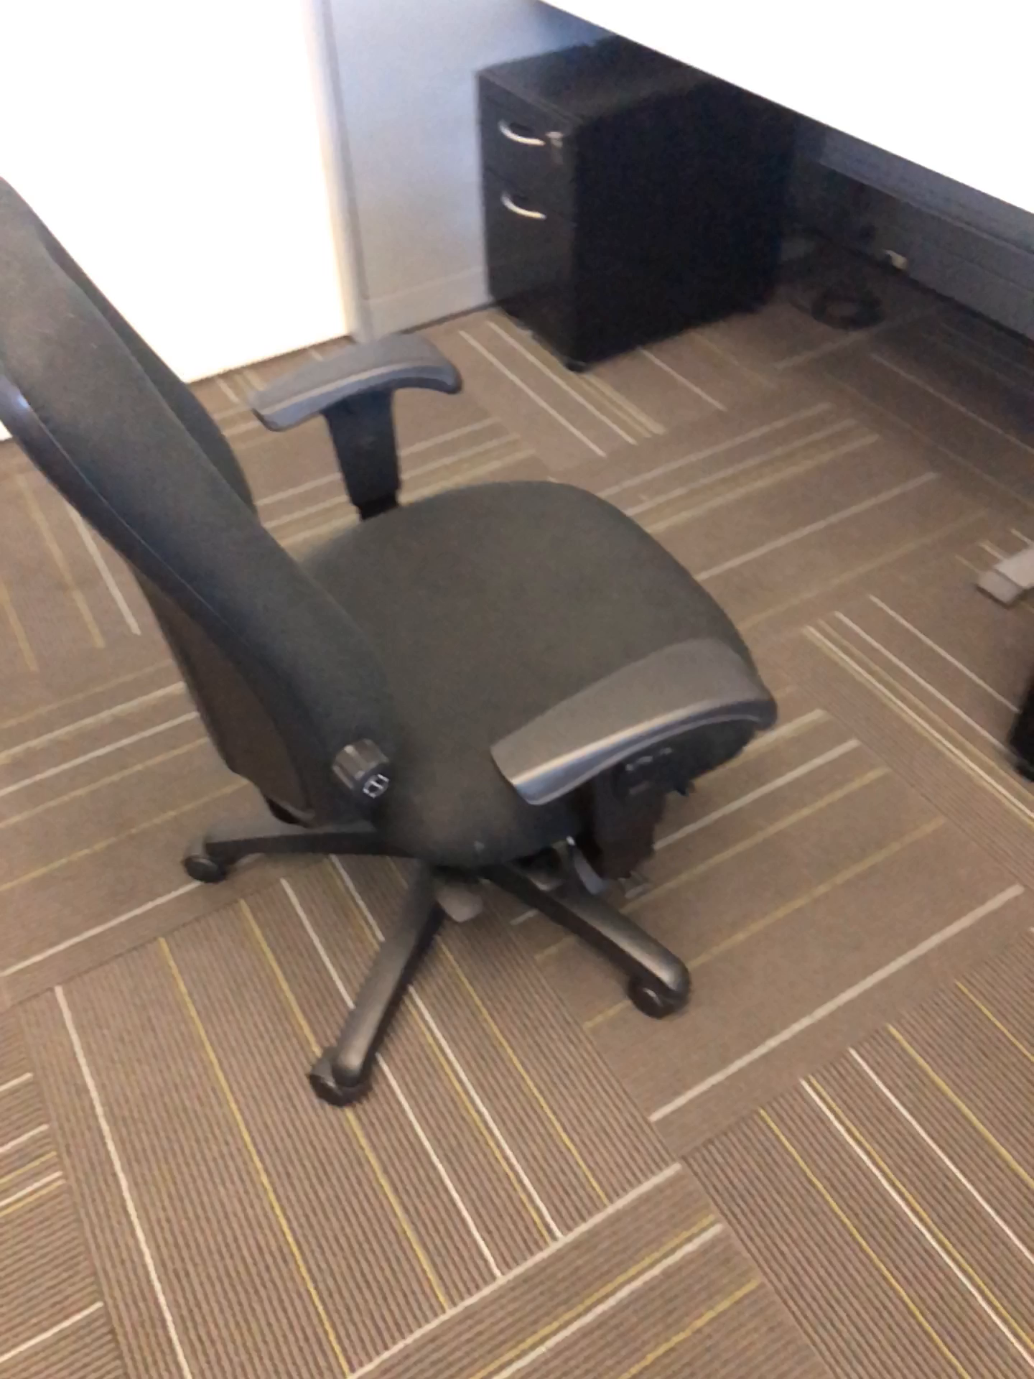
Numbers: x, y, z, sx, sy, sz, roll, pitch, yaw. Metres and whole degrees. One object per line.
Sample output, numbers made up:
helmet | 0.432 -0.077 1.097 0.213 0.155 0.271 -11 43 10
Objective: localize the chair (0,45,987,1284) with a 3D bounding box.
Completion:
chair | -0.125 -0.036 1.278 0.680 0.956 0.743 -24 48 -20
